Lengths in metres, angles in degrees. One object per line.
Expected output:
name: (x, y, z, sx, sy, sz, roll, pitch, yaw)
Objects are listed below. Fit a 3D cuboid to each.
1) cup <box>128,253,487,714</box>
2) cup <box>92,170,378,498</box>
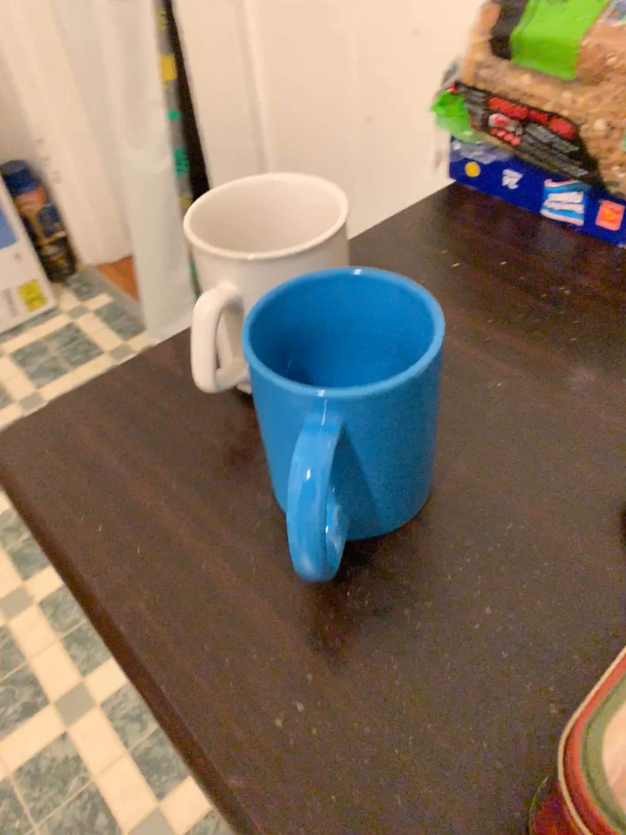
cup: (0.012, 0.019, 0.261, 0.090, 0.099, 0.141, 8, 48, 15)
cup: (-0.026, -0.048, 0.336, 0.090, 0.099, 0.130, 10, 48, 16)
